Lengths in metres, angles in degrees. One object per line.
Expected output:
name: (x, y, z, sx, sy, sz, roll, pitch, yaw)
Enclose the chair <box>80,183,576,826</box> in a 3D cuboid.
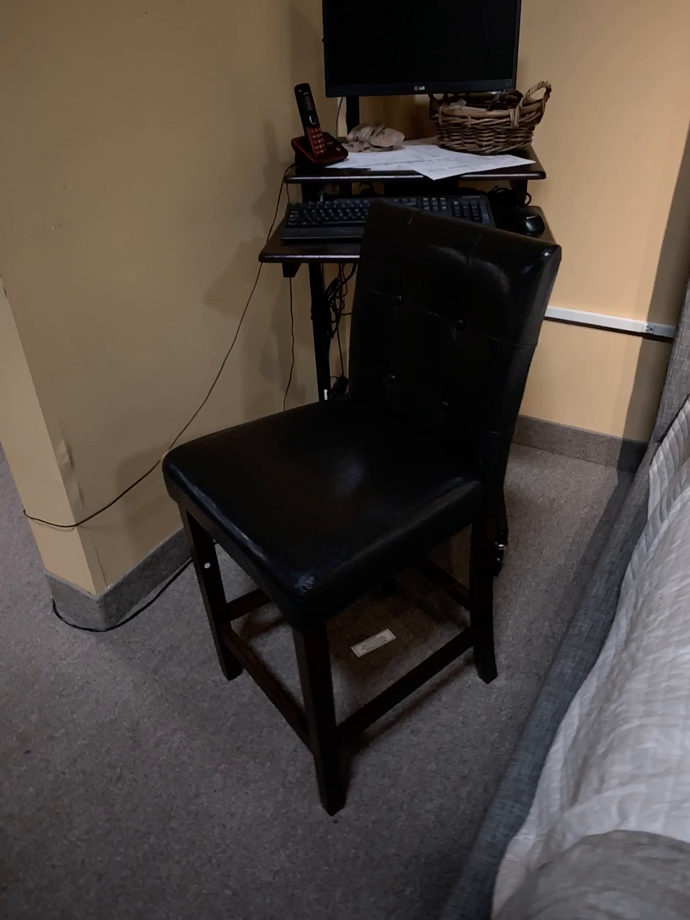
chair: (-0.033, 0.052, 1.306, 0.518, 0.912, 0.560, -24, 39, -29)
